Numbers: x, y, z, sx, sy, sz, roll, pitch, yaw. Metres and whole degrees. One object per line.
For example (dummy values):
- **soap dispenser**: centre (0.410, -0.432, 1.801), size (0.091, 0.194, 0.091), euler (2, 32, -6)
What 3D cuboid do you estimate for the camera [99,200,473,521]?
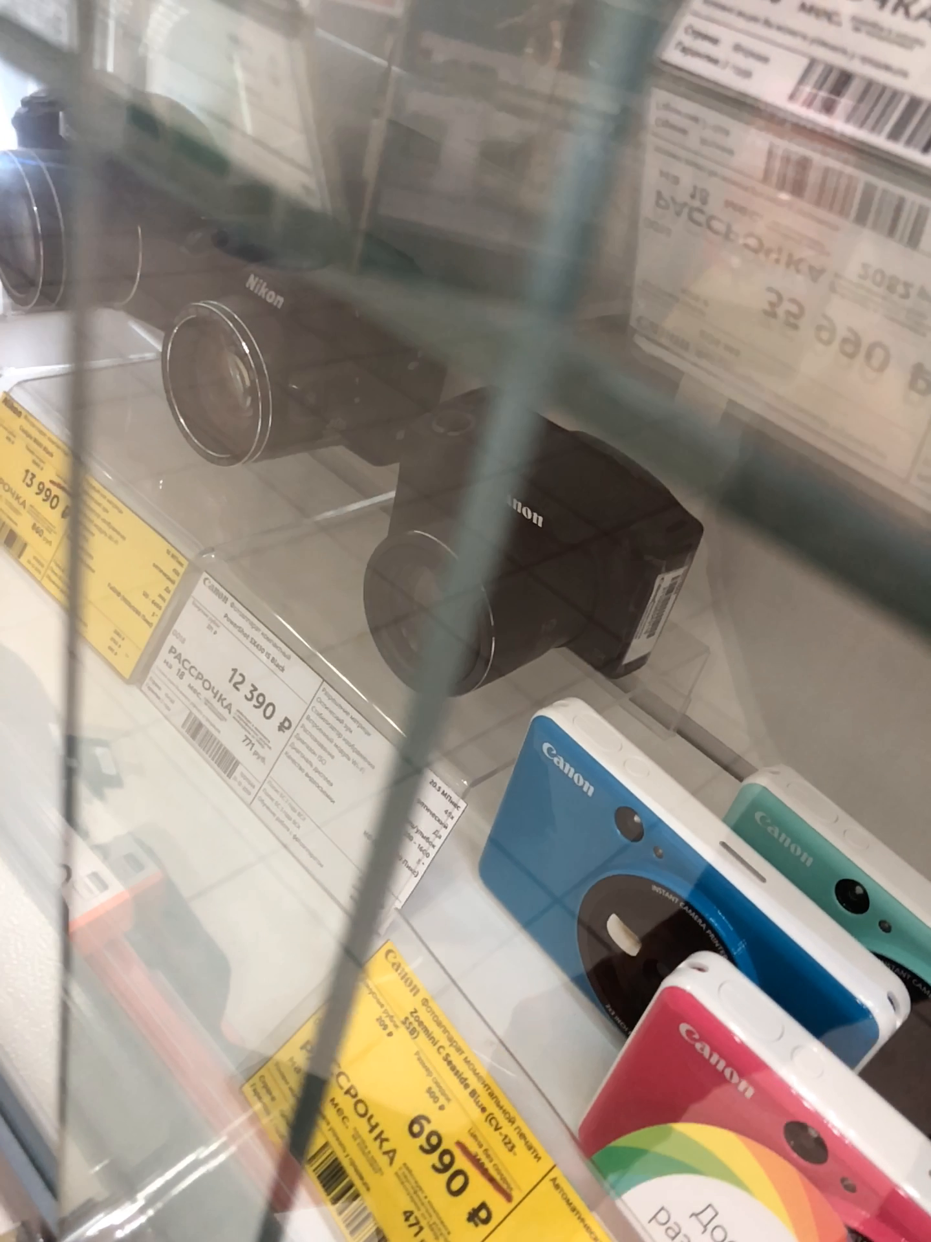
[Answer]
- **camera**: centre (-0.072, -0.105, 0.396), size (0.093, 0.073, 0.100), euler (-22, 51, -40)

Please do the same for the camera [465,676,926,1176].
- **camera**: centre (0.056, 0.083, 0.295), size (0.028, 0.073, 0.118), euler (-19, 49, -39)

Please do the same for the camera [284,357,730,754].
- **camera**: centre (0.011, -0.029, 0.345), size (0.093, 0.070, 0.100), euler (-22, 51, -40)

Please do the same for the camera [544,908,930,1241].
- **camera**: centre (0.077, 0.135, 0.229), size (0.028, 0.073, 0.118), euler (-19, 49, -39)
